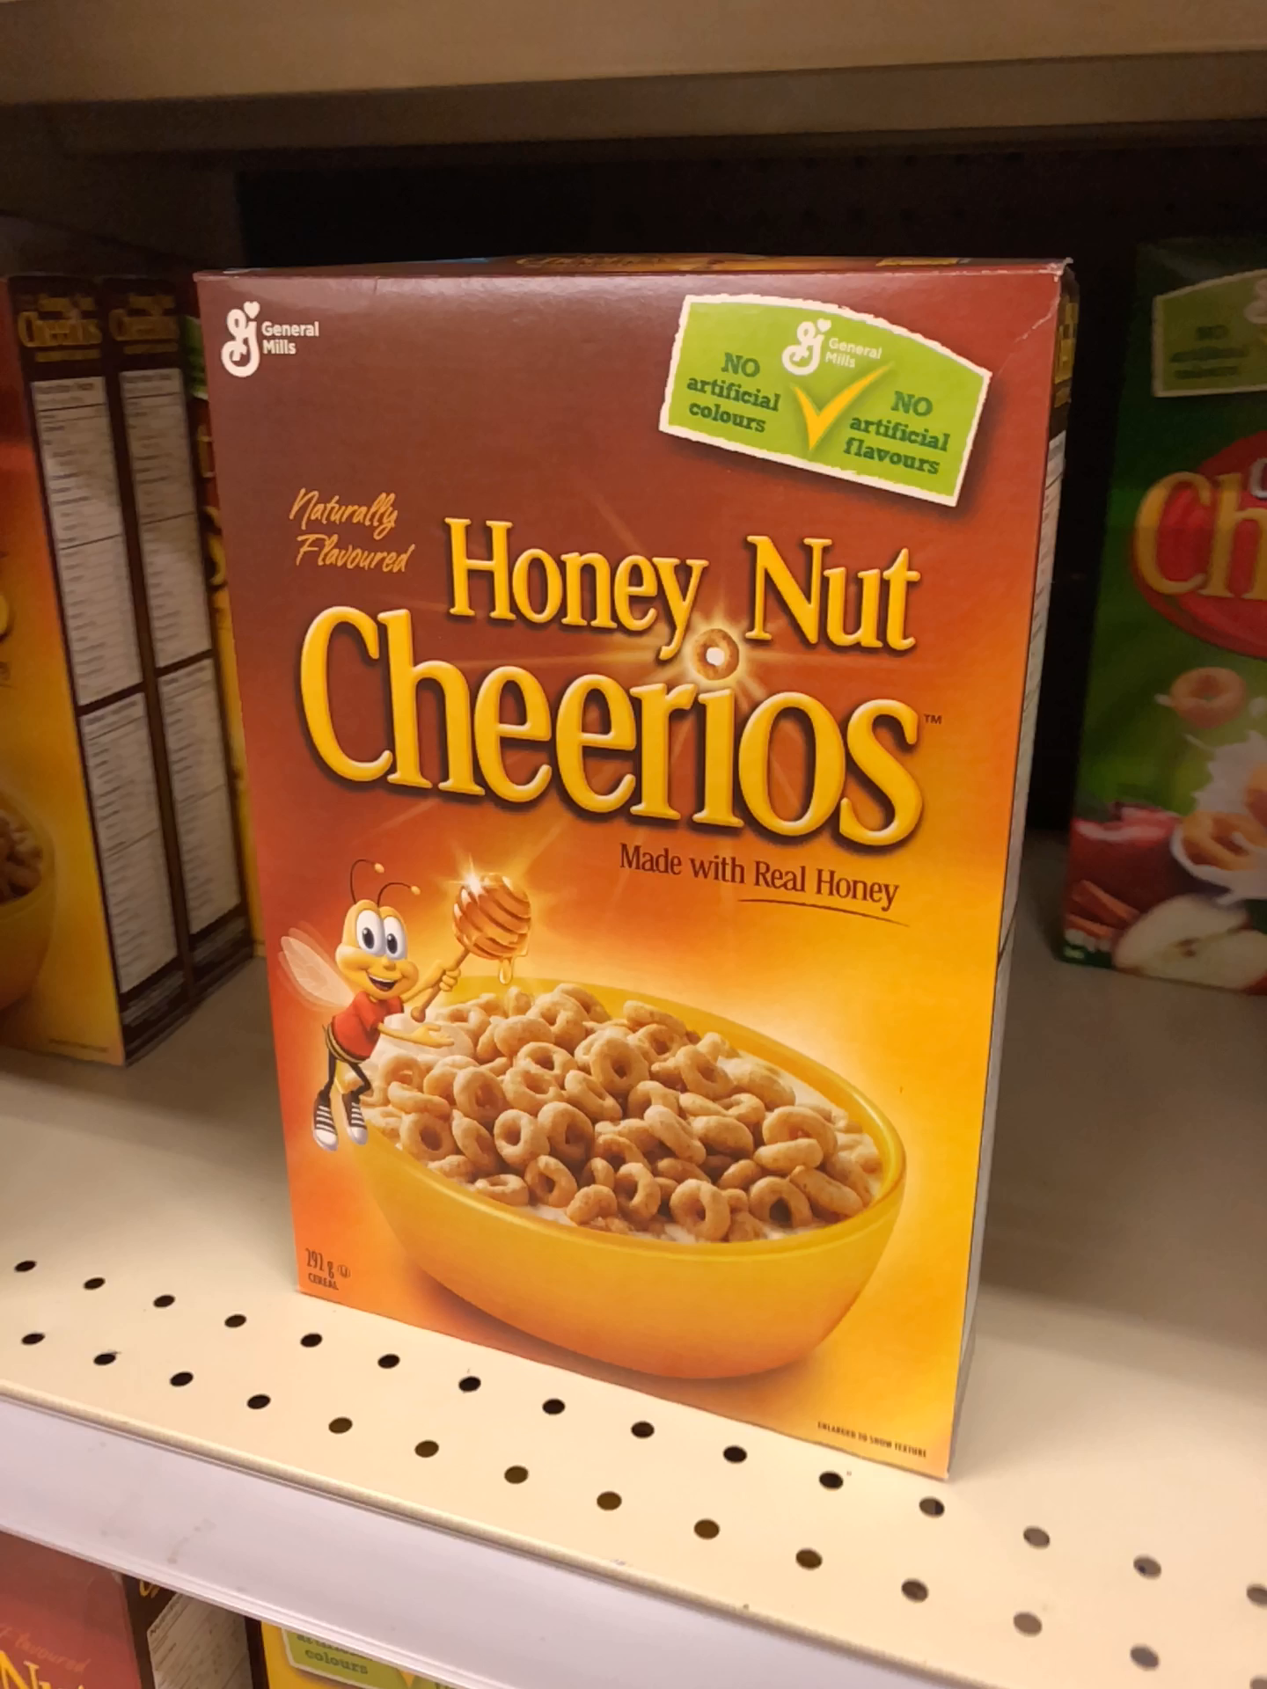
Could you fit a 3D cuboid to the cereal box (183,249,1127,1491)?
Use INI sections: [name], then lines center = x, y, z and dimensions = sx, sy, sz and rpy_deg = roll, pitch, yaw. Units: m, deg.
[cereal box]
center = 0.001, 0.003, 0.341
dimensions = 0.190, 0.269, 0.060
rpy_deg = 8, 22, 21
